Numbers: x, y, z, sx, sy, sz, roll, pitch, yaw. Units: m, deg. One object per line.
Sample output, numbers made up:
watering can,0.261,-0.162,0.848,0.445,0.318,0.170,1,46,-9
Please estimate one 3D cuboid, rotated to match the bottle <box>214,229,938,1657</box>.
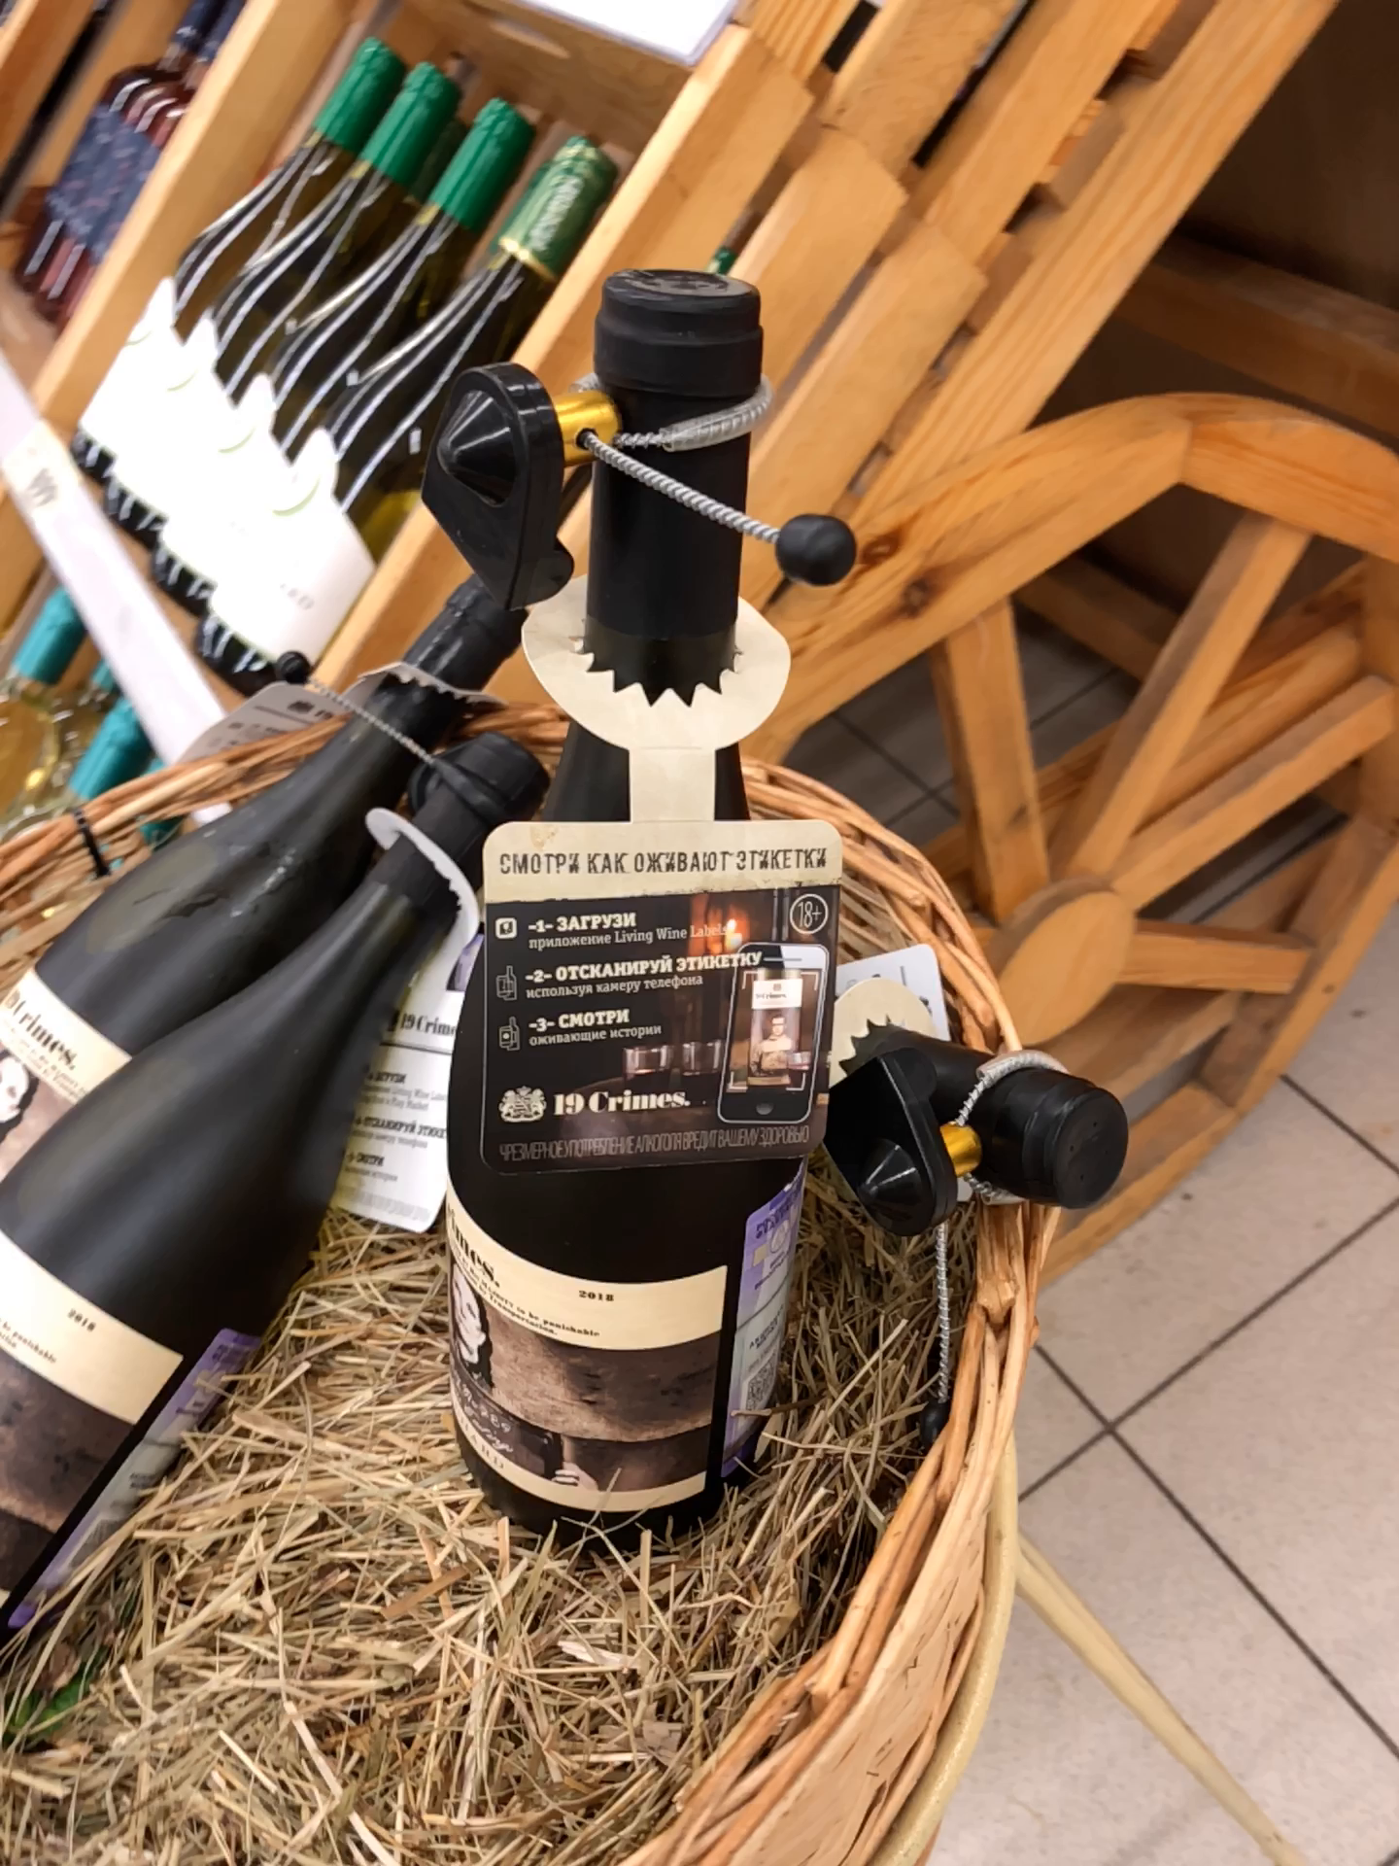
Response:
bottle,-0.024,0.018,0.330,0.080,0.289,0.090,-22,41,-28
